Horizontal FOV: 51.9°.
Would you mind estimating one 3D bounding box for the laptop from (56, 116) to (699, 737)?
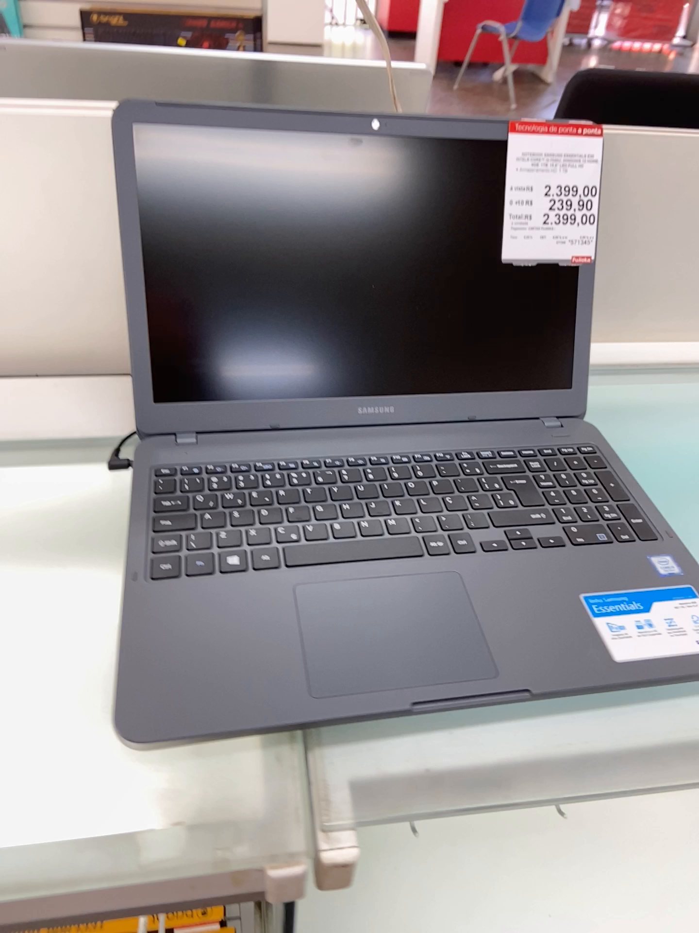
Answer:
[{"bbox_3d":[0.044,-0.063,0.457,0.360,0.197,0.353,-3,40,-11],"label":"laptop"}]
